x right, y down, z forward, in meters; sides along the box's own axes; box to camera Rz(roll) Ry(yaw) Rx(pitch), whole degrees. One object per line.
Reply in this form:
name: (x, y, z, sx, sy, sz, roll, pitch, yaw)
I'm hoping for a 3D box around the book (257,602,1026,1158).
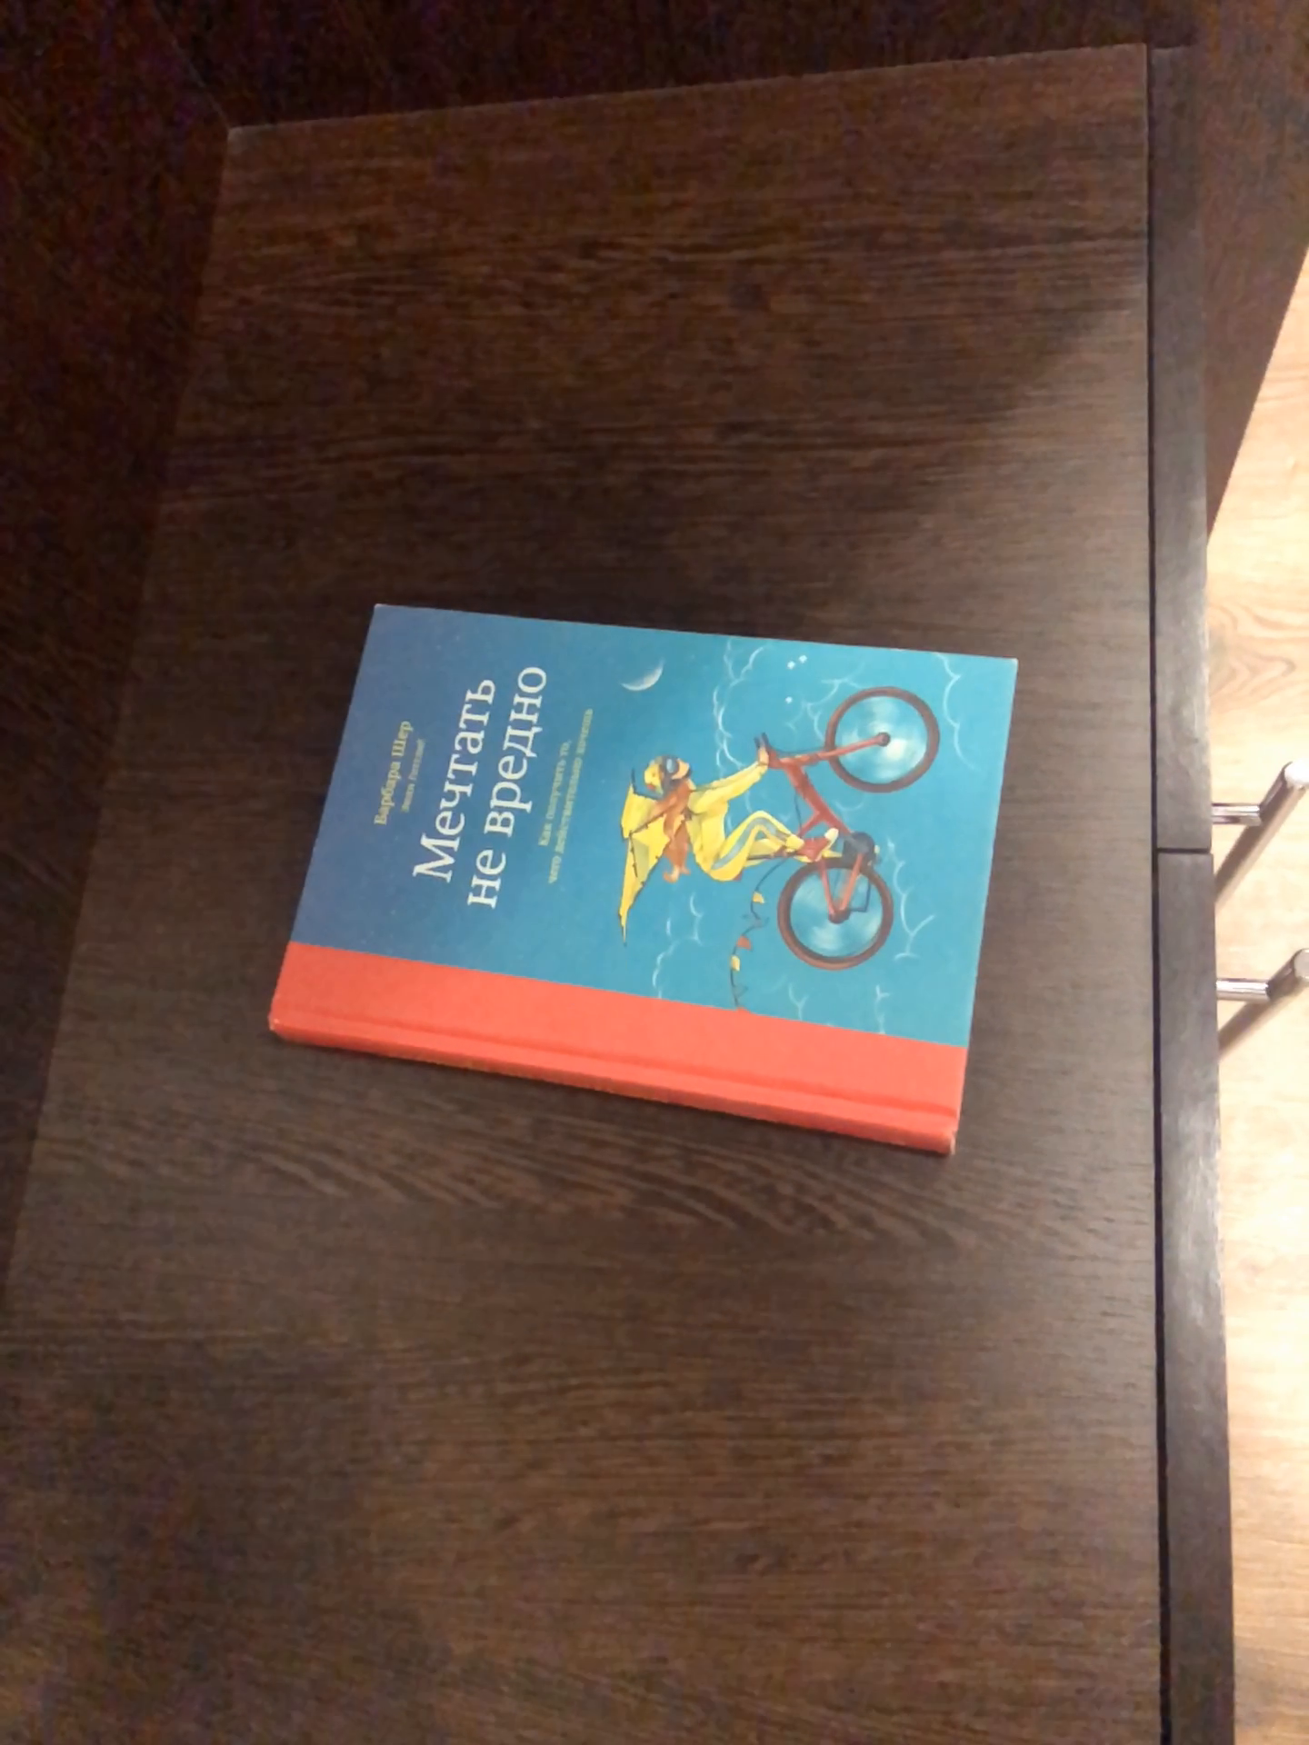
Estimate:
book: (-0.003, -0.003, 0.442, 0.211, 0.025, 0.145, 7, 75, 12)
